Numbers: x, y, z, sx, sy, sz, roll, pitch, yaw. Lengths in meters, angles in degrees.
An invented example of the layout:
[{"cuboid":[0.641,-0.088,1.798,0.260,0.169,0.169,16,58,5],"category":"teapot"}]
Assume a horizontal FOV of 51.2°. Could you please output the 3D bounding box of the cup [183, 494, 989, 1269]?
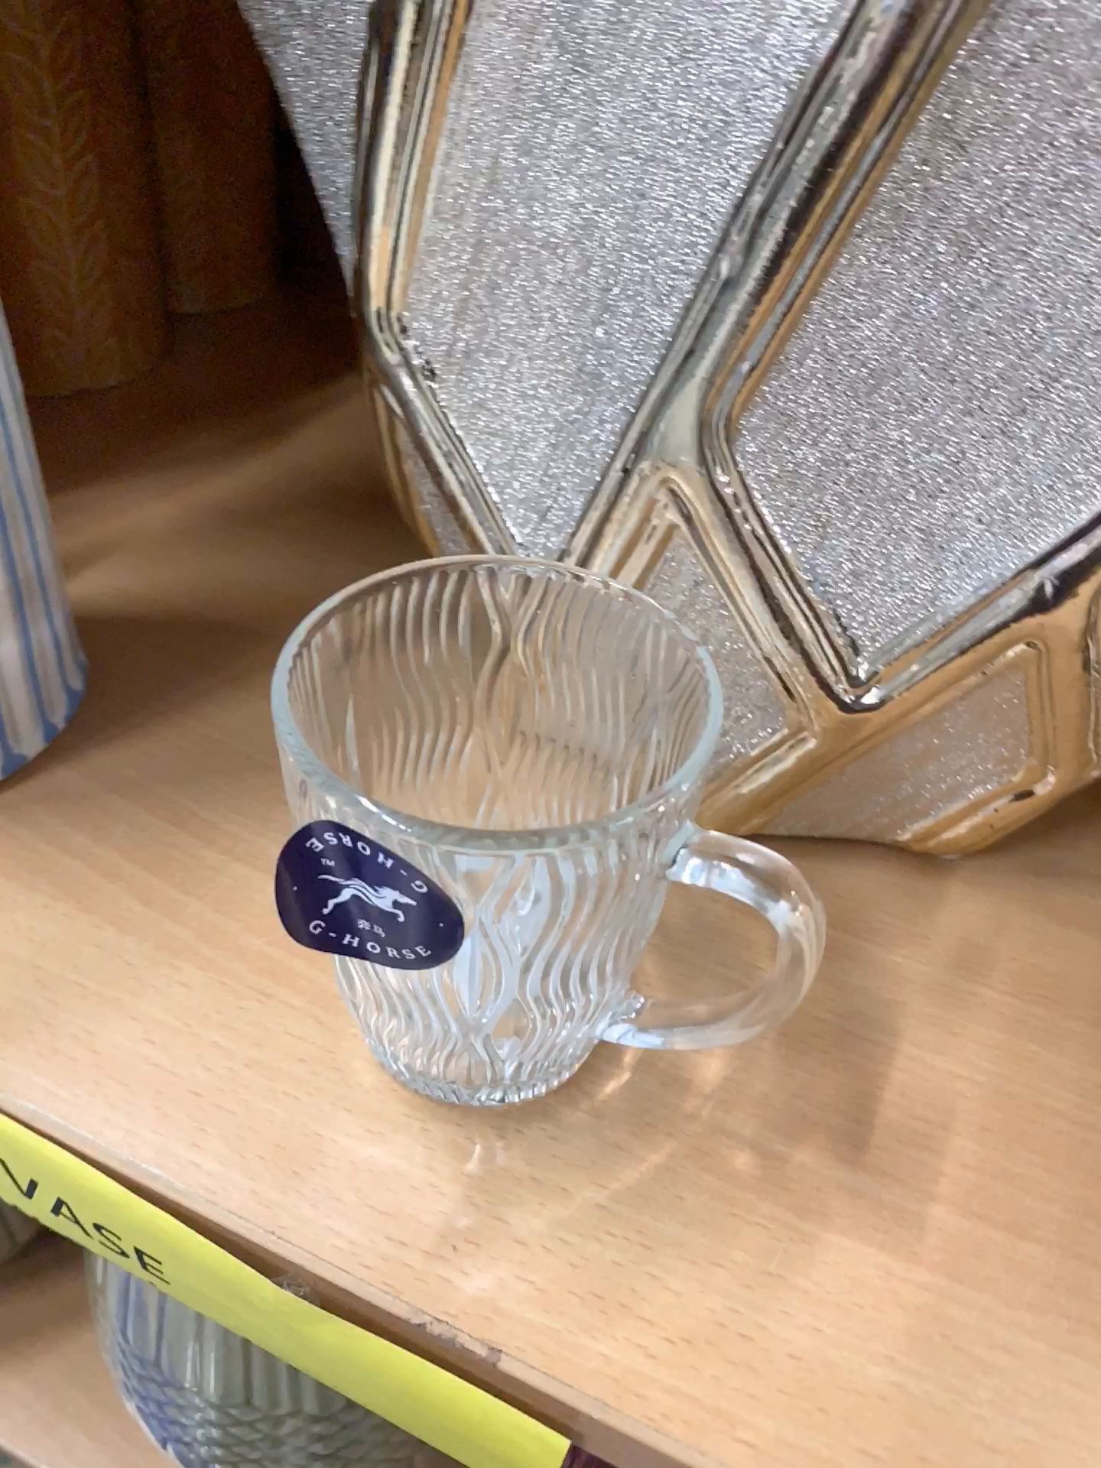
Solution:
[{"cuboid":[0.006,0.019,0.191,0.100,0.070,0.070,20,42,15],"category":"cup"}]
